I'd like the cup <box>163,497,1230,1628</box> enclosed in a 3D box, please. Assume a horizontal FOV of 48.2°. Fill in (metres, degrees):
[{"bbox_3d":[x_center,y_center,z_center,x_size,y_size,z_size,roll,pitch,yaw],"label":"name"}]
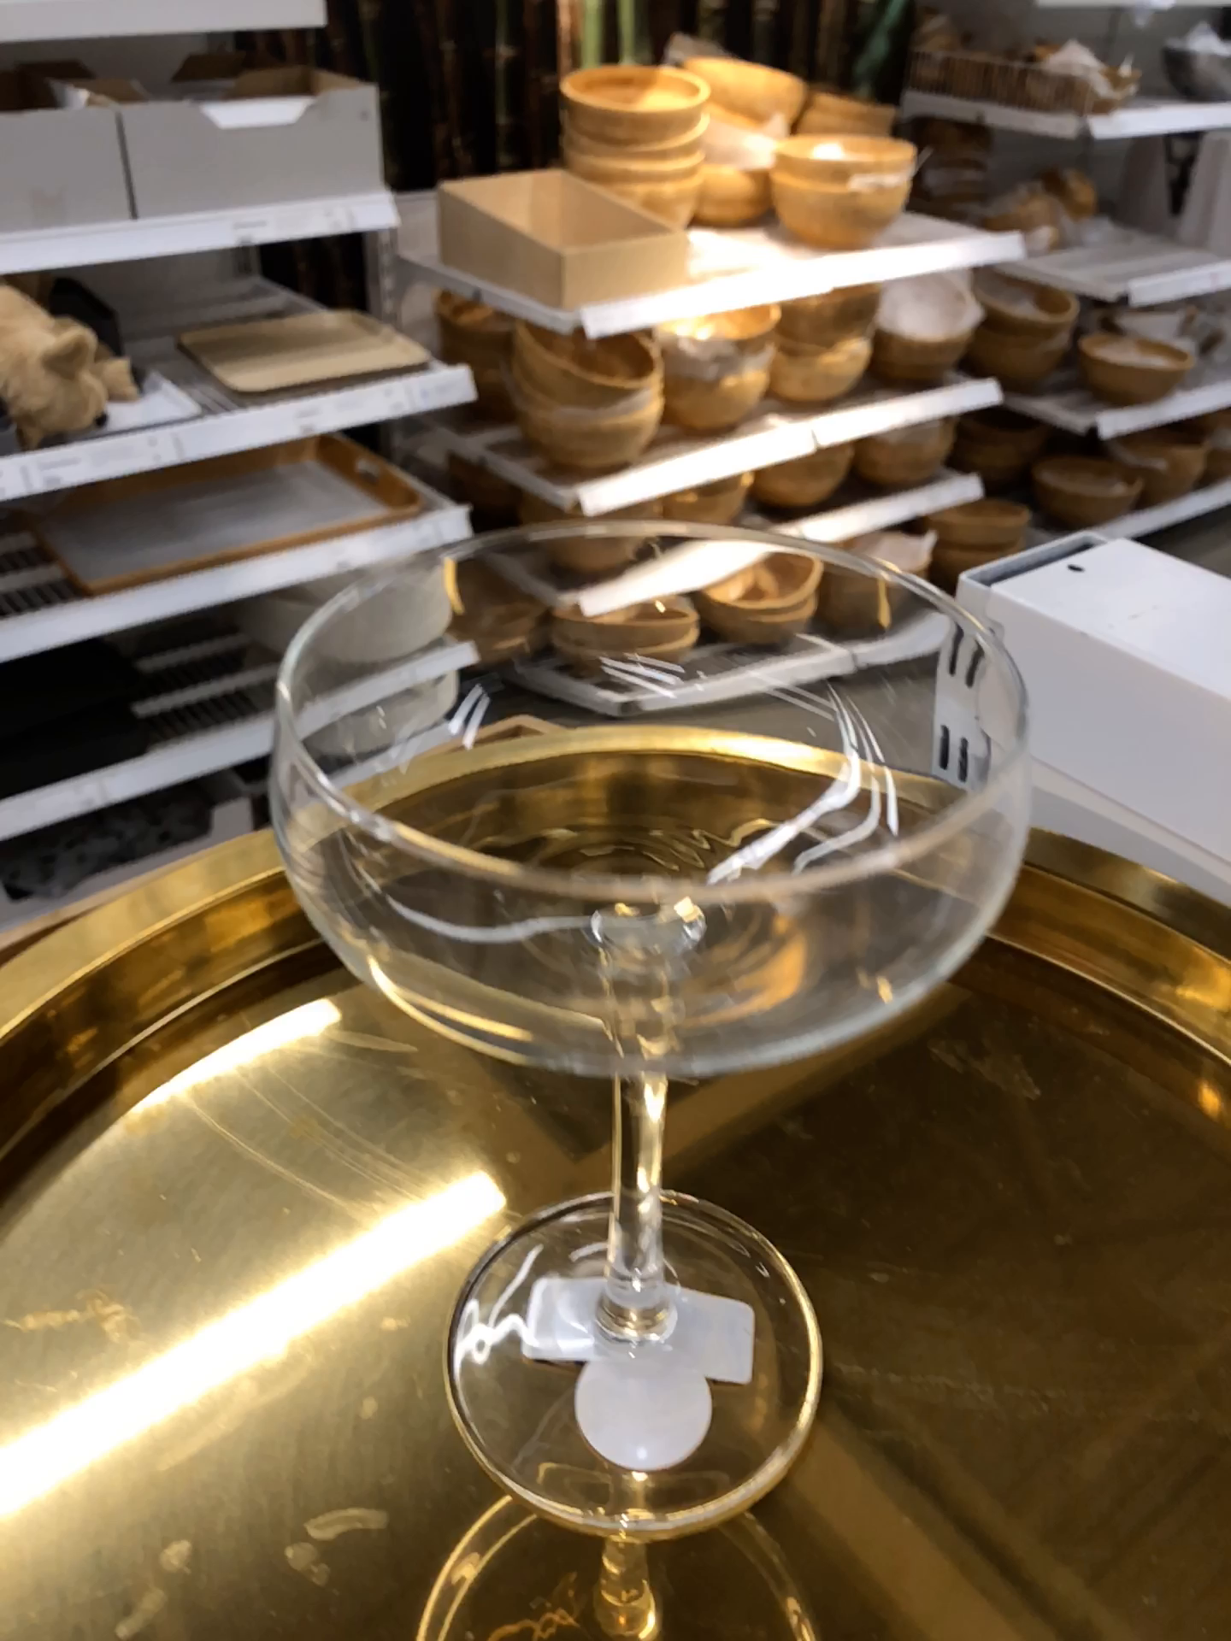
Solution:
[{"bbox_3d":[0.006,0.035,0.223,0.110,0.140,0.110,1,34,-1],"label":"cup"}]
